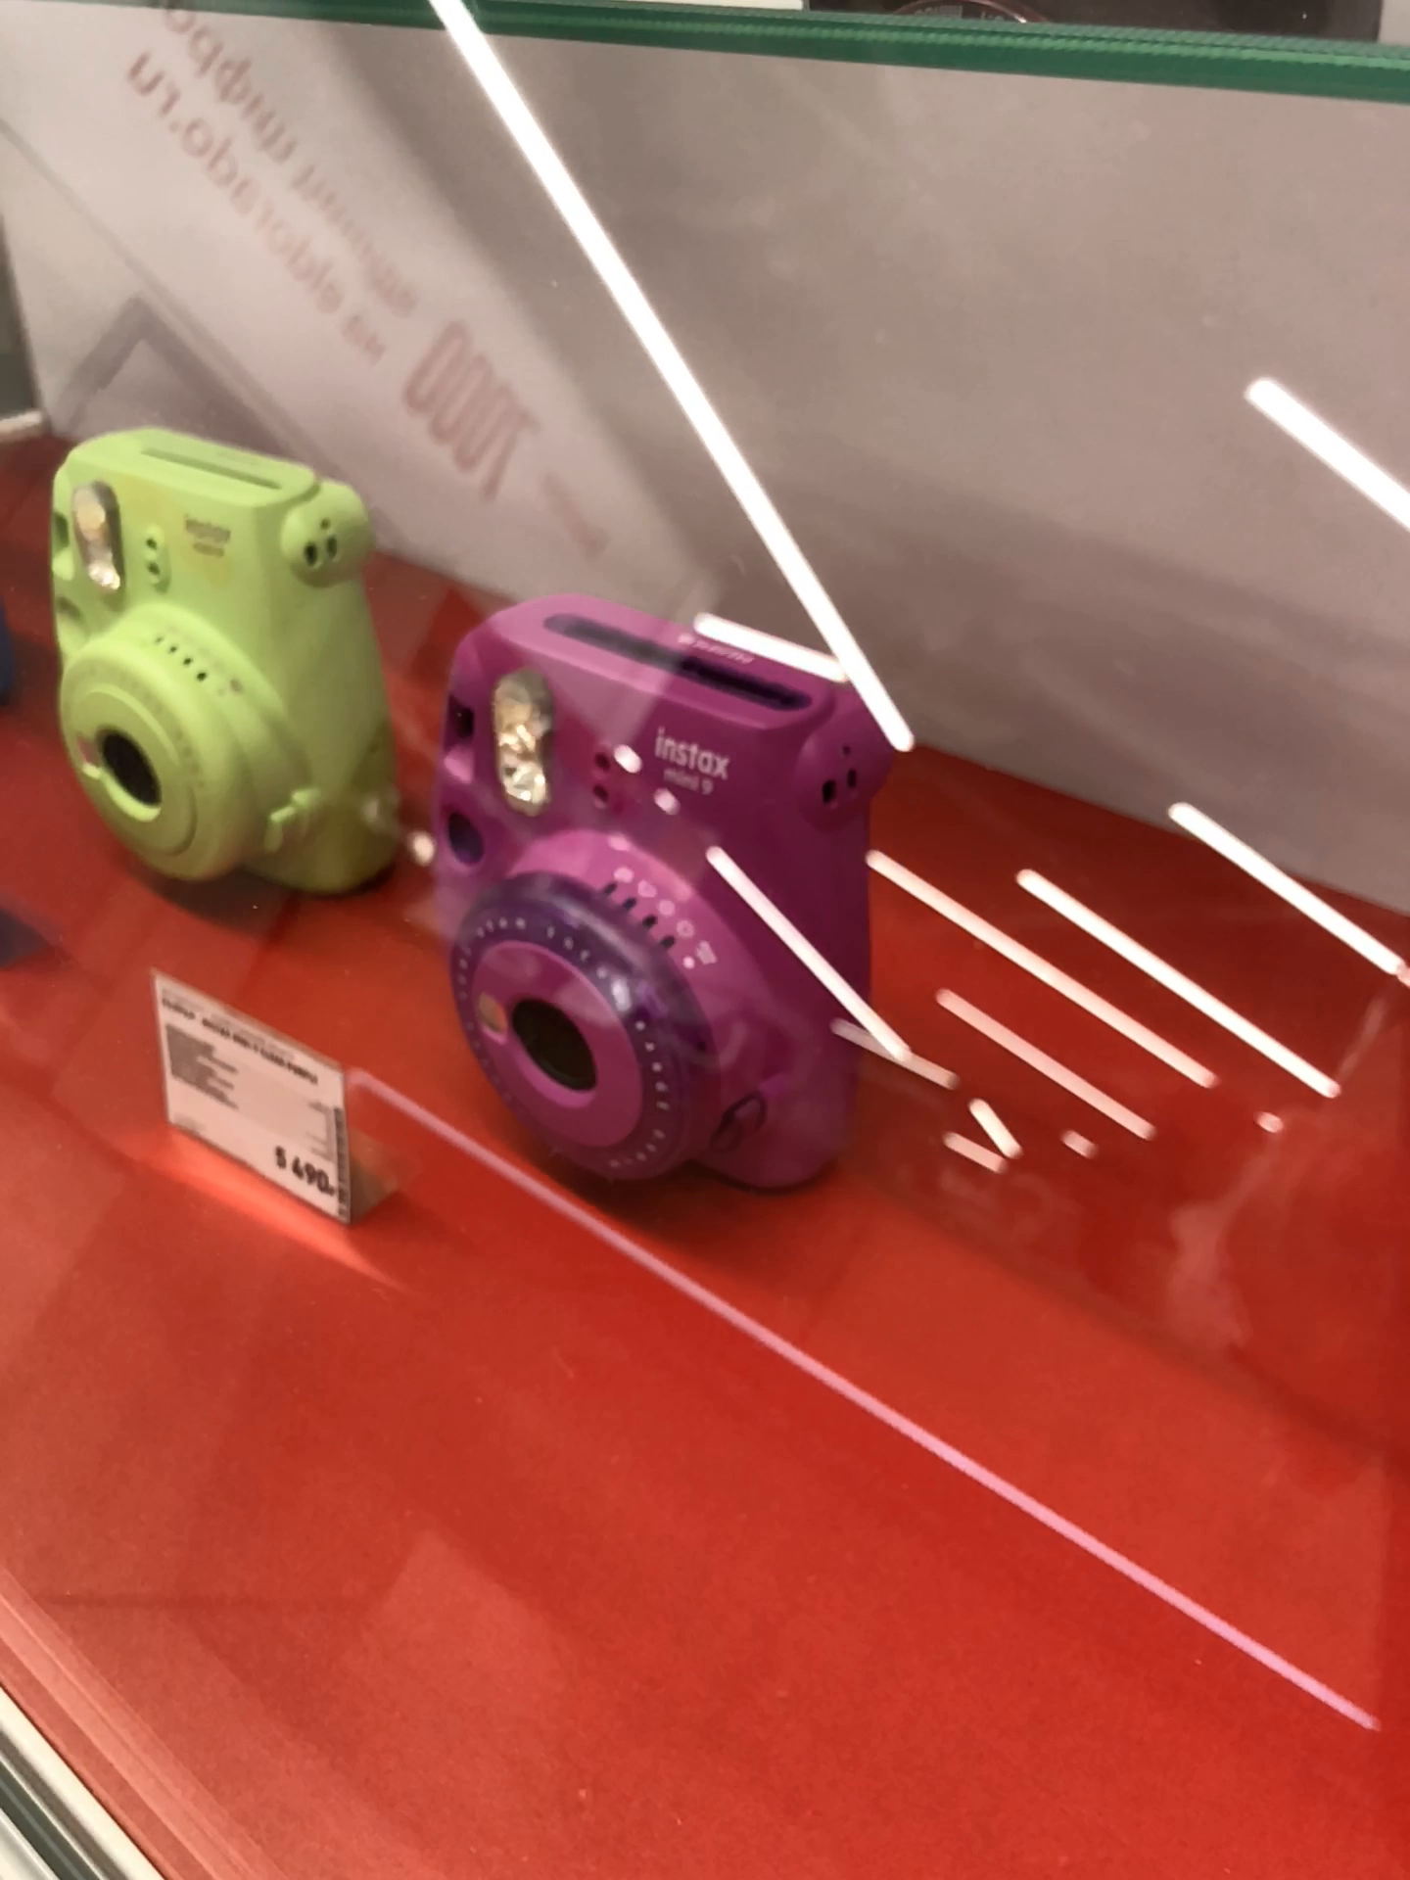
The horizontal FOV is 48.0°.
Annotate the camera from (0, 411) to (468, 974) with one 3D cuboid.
[{"bbox_3d":[-0.150,-0.078,0.470,0.135,0.118,0.073,22,39,29],"label":"camera"}]

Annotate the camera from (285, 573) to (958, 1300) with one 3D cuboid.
[{"bbox_3d":[-0.018,-0.007,0.346,0.117,0.103,0.073,25,41,33],"label":"camera"}]
